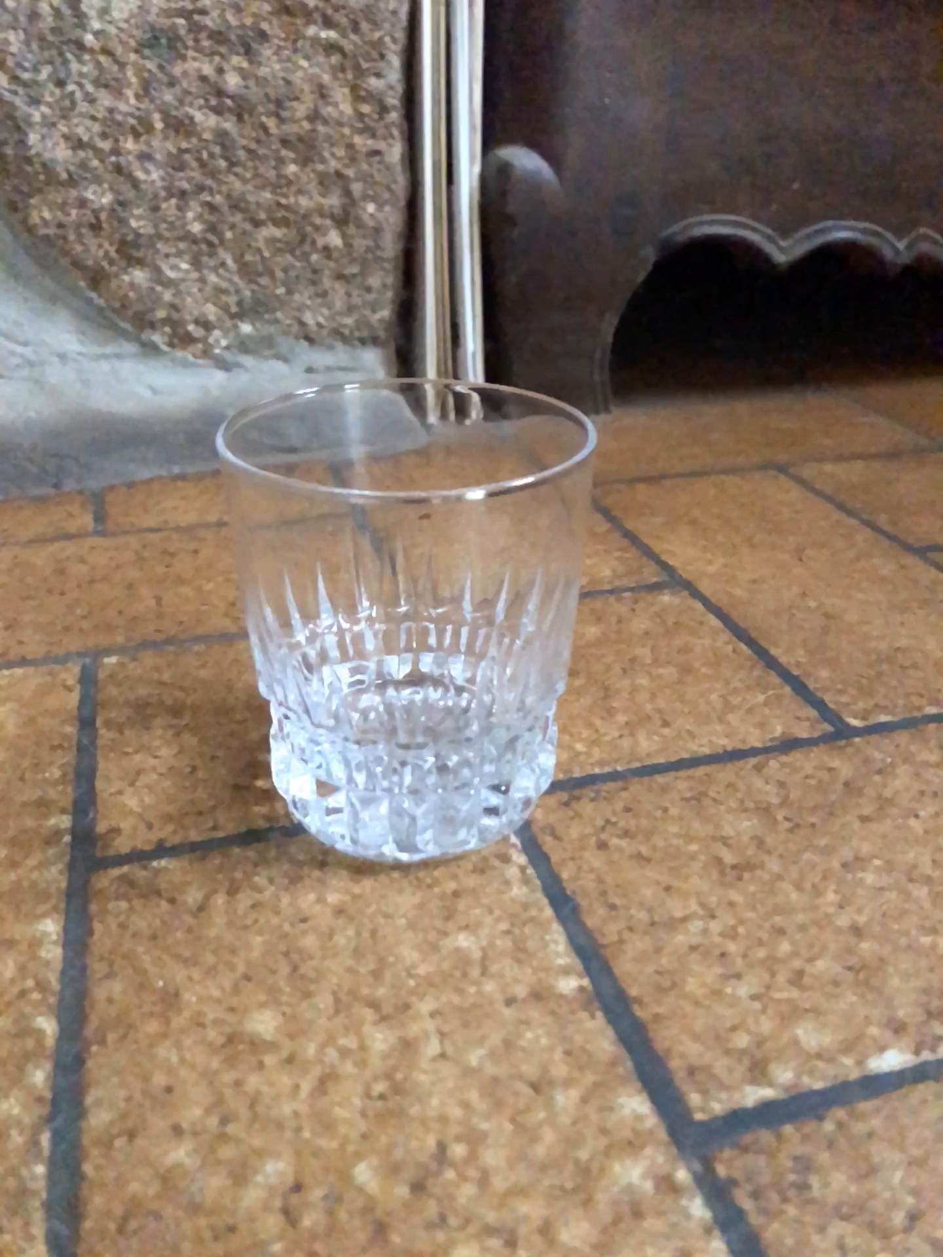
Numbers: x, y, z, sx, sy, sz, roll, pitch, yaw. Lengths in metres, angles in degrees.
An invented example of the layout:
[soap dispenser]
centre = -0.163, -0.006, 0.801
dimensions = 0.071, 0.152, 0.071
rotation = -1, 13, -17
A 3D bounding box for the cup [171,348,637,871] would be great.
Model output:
[cup]
centre = -0.012, -0.008, 0.235
dimensions = 0.080, 0.089, 0.080
rotation = 1, 27, 0
